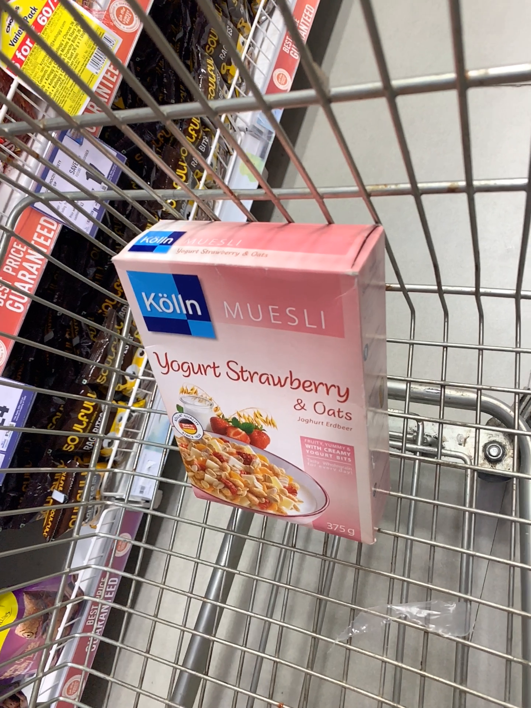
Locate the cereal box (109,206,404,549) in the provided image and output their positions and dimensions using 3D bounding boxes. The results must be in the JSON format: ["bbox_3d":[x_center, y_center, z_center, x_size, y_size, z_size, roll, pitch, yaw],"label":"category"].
[{"bbox_3d":[0.007,0.020,0.353,0.150,0.220,0.050,7,38,24],"label":"cereal box"}]
